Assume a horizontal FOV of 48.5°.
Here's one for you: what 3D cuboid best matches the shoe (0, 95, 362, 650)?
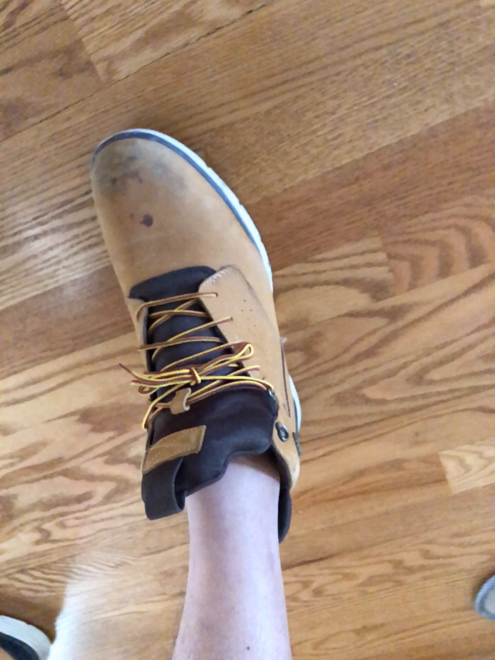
[{"bbox_3d":[-0.030,0.023,0.372,0.120,0.170,0.311,-16,110,12],"label":"shoe"}]
